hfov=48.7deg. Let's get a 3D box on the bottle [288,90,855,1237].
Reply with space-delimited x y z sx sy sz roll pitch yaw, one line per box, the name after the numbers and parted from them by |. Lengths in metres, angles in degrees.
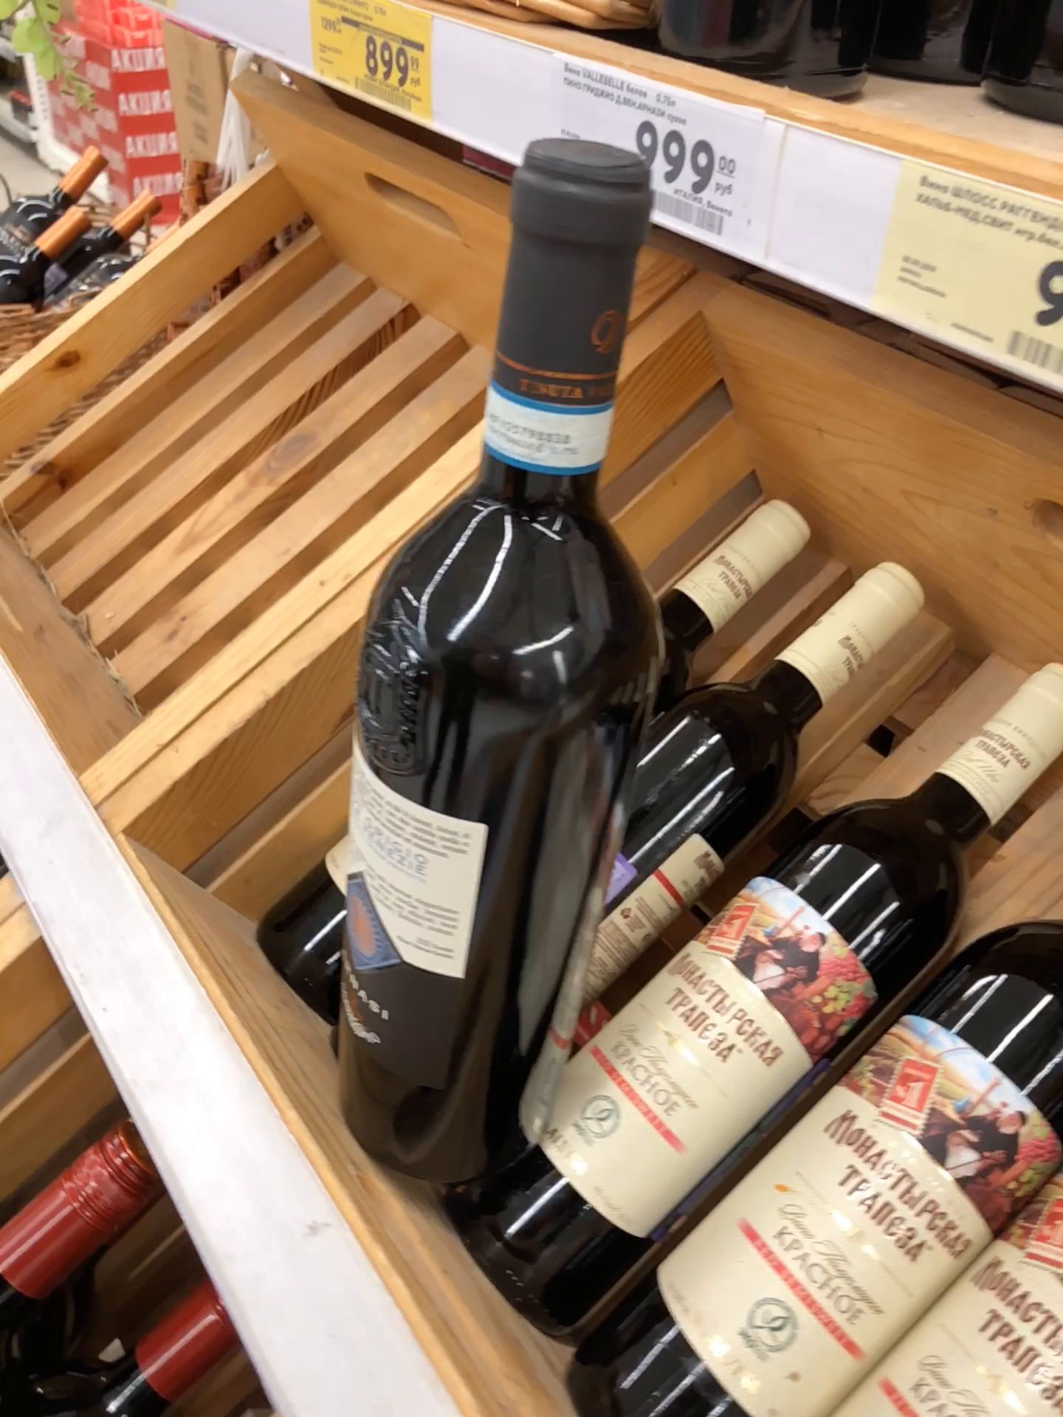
-0.011 0.007 0.344 0.080 0.318 0.090 -14 40 -32 | bottle
